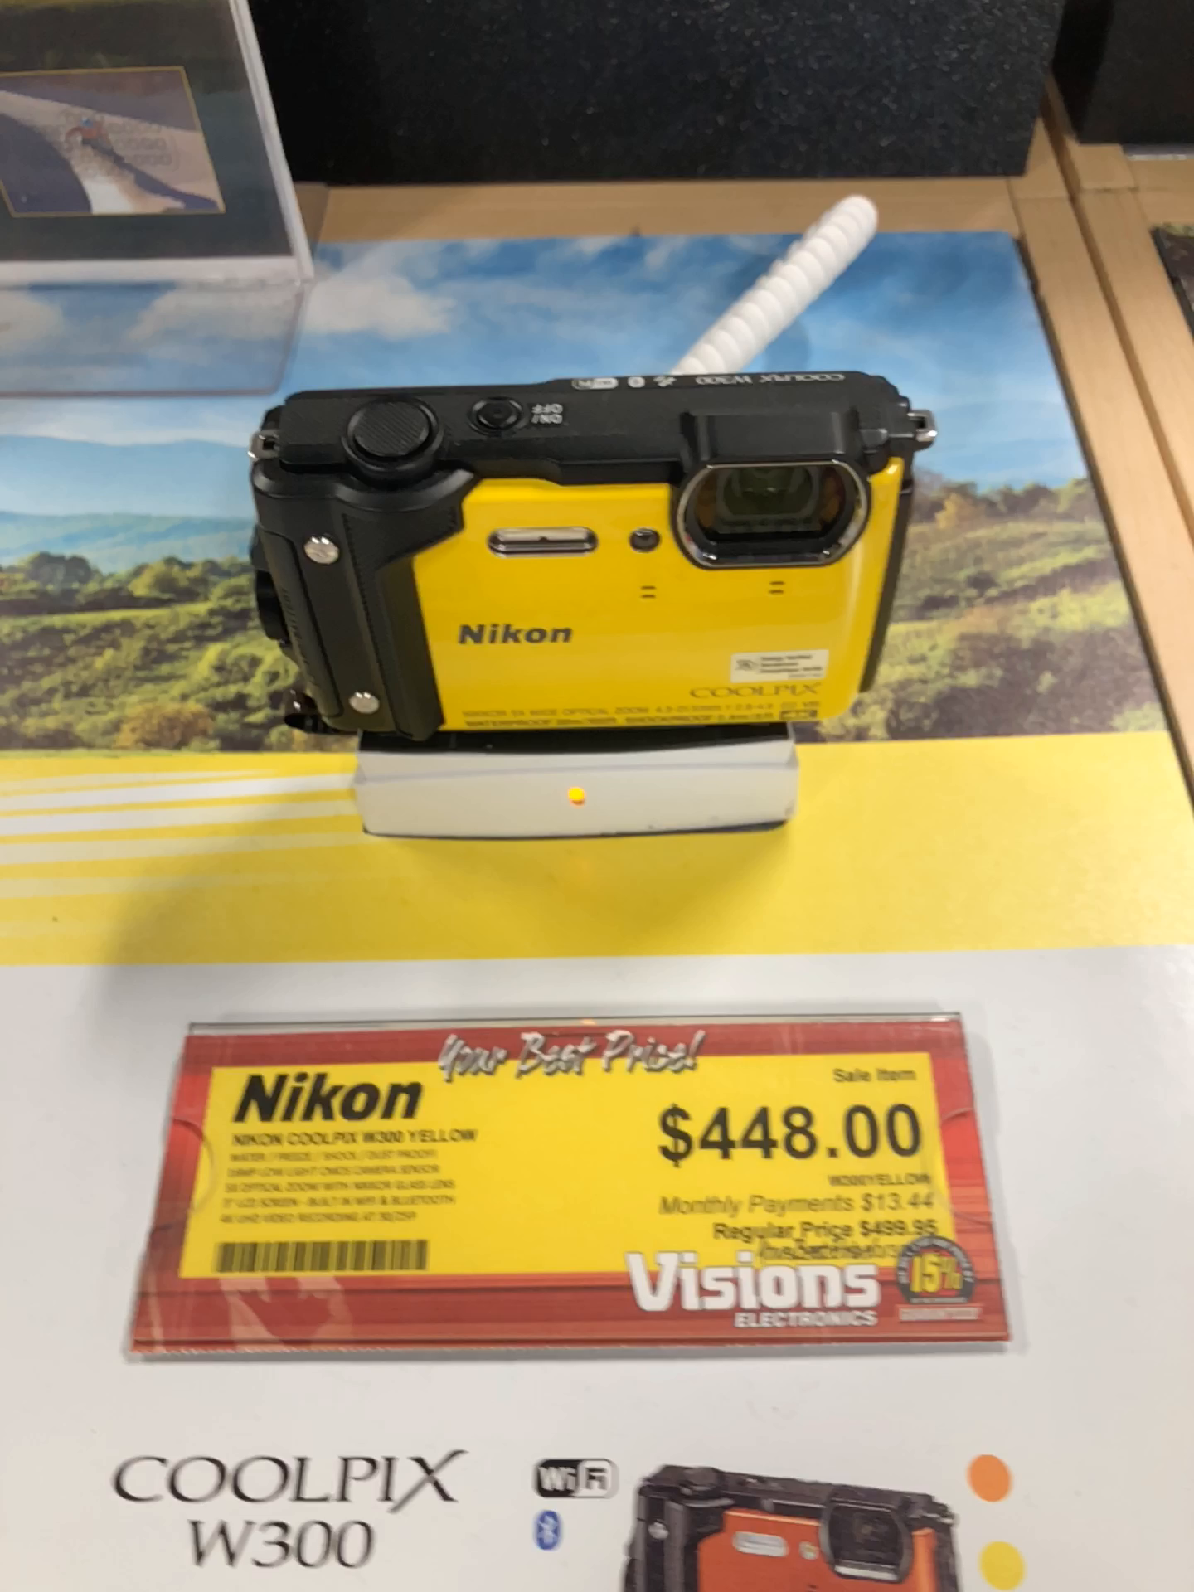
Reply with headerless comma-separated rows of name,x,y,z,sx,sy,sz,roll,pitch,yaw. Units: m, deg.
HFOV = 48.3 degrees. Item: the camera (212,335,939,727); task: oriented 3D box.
camera,-0.003,-0.044,0.235,0.110,0.060,0.030,-2,54,1
